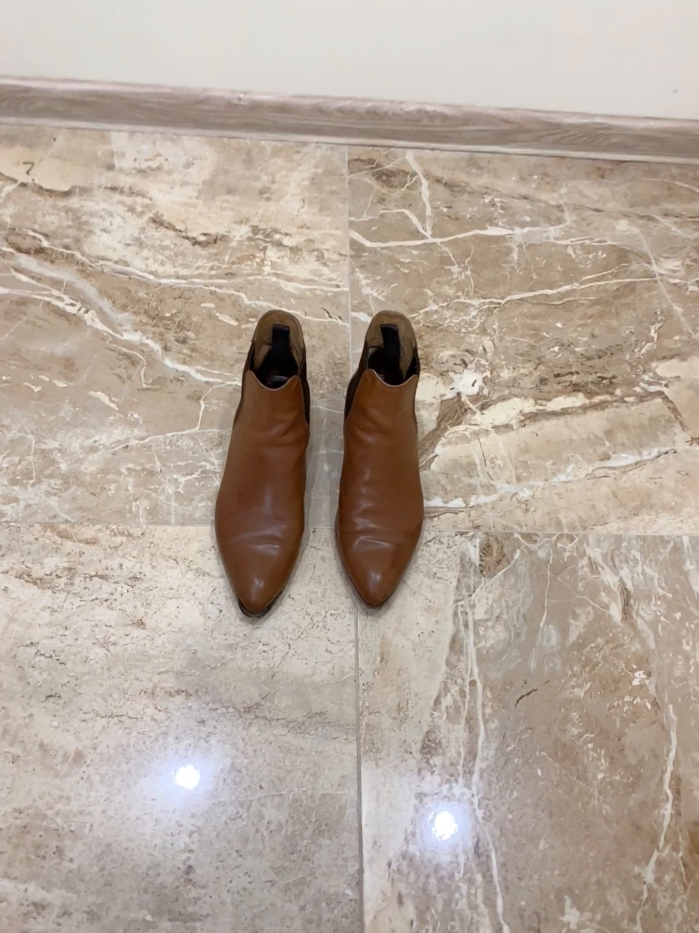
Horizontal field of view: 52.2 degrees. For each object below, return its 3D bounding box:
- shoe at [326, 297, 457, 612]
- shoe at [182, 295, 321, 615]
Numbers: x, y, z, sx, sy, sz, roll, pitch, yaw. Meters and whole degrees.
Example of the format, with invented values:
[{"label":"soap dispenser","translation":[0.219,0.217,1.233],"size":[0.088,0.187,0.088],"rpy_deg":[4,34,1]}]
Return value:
[{"label":"shoe","translation":[0.039,-0.014,0.644],"size":[0.090,0.120,0.251],"rpy_deg":[6,59,-2]},{"label":"shoe","translation":[-0.079,-0.012,0.640],"size":[0.090,0.130,0.251],"rpy_deg":[4,59,-3]}]
